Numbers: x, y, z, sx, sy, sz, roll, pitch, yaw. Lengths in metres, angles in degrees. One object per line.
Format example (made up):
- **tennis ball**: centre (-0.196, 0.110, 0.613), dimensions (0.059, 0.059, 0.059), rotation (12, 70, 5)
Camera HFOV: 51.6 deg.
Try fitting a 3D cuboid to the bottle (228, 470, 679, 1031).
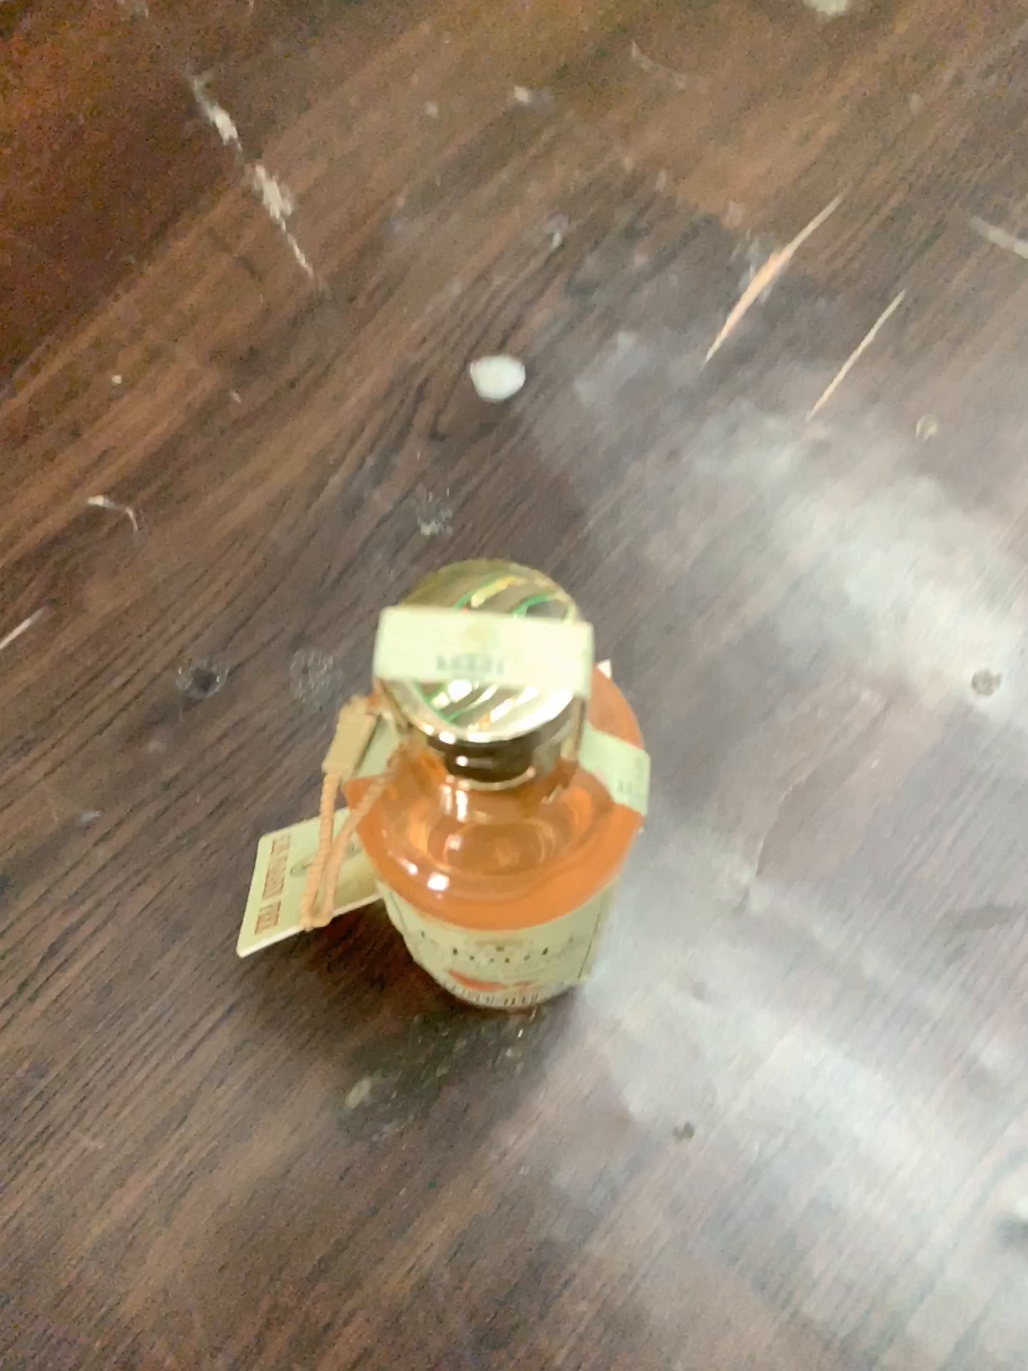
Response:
- **bottle**: centre (-0.005, 0.027, 0.196), dimensions (0.050, 0.150, 0.050), rotation (0, 65, 0)
